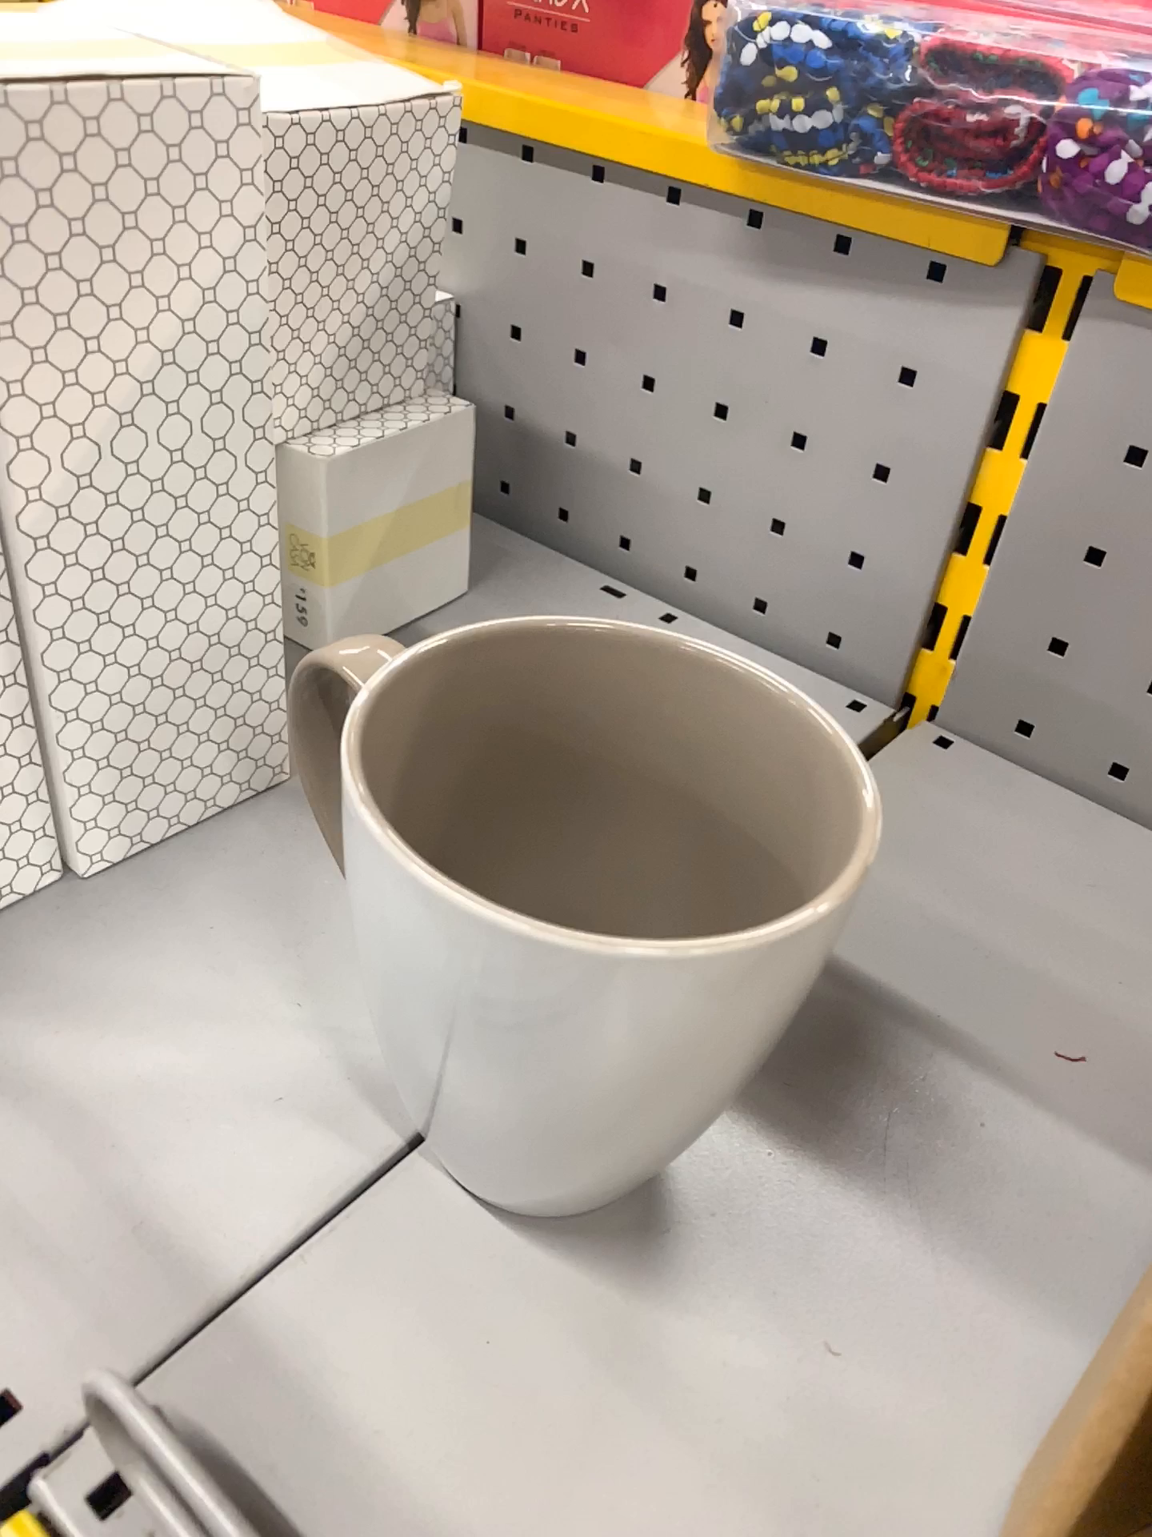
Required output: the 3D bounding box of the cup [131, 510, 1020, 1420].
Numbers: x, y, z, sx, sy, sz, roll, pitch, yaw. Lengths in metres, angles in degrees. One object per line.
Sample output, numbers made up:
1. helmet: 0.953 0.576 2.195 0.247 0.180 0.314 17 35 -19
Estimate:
1. cup: -0.006 0.029 0.256 0.140 0.100 0.100 33 44 29
